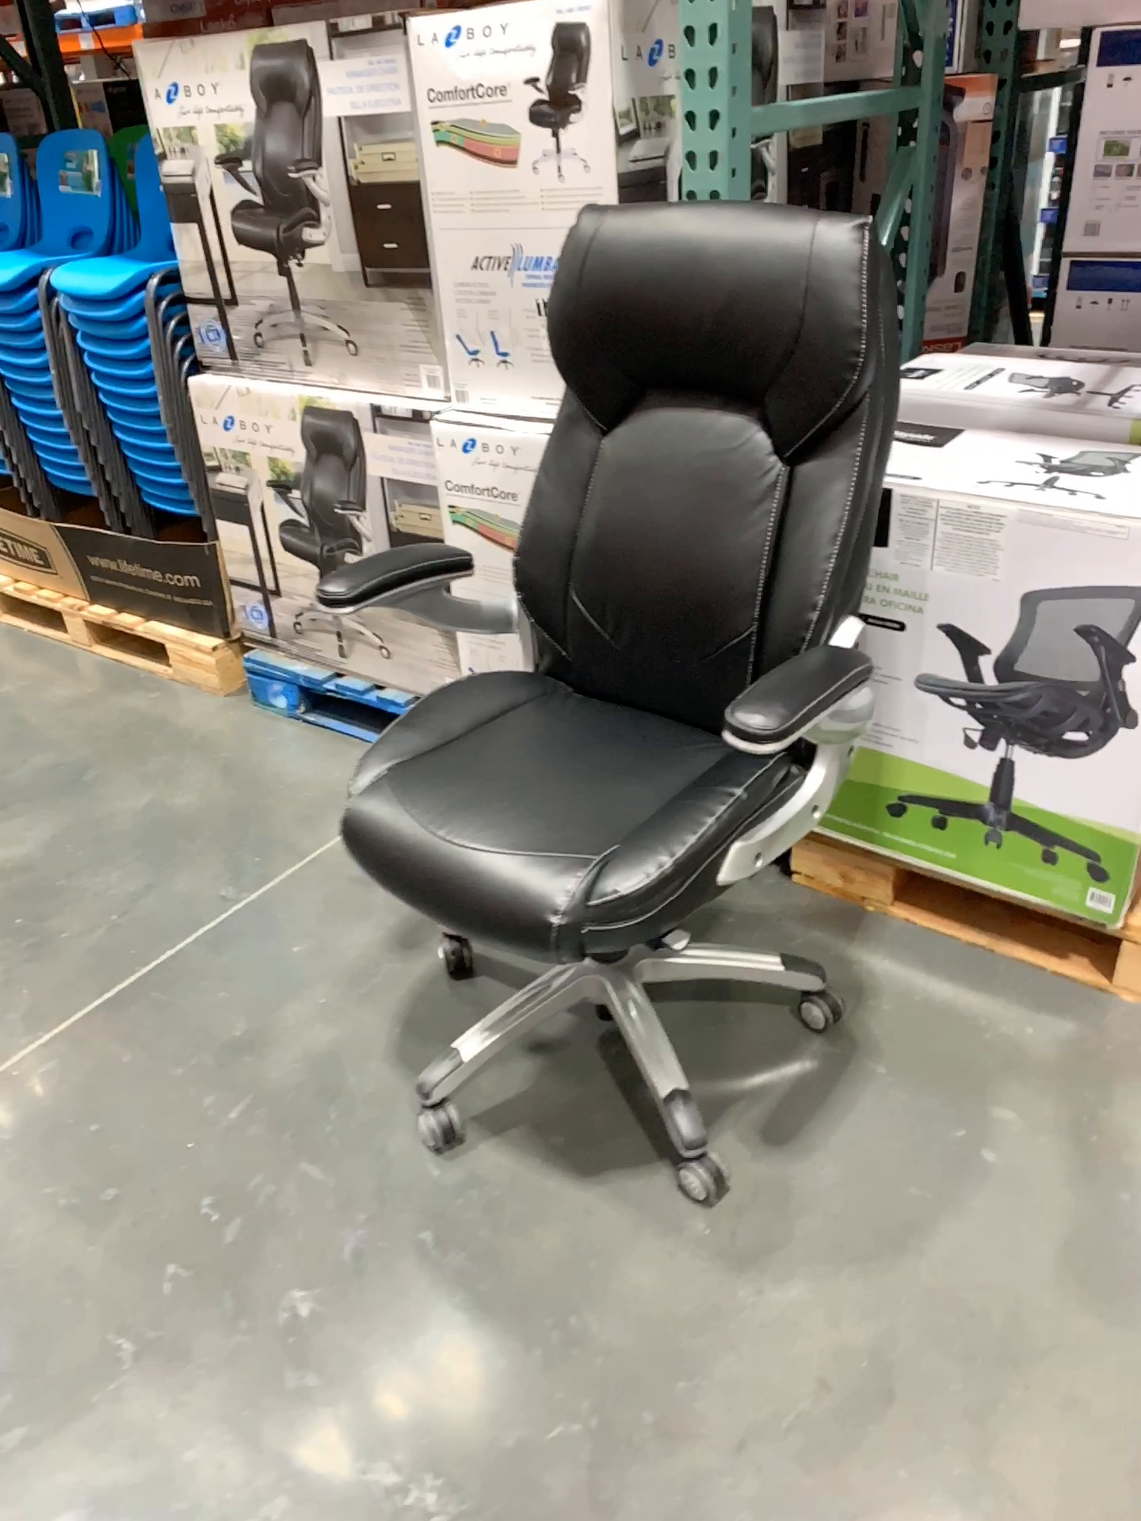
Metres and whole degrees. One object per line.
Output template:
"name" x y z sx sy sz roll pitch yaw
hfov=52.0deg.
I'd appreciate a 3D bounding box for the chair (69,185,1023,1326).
"chair" 0.015 -0.083 1.518 0.730 1.128 0.706 20 38 36
